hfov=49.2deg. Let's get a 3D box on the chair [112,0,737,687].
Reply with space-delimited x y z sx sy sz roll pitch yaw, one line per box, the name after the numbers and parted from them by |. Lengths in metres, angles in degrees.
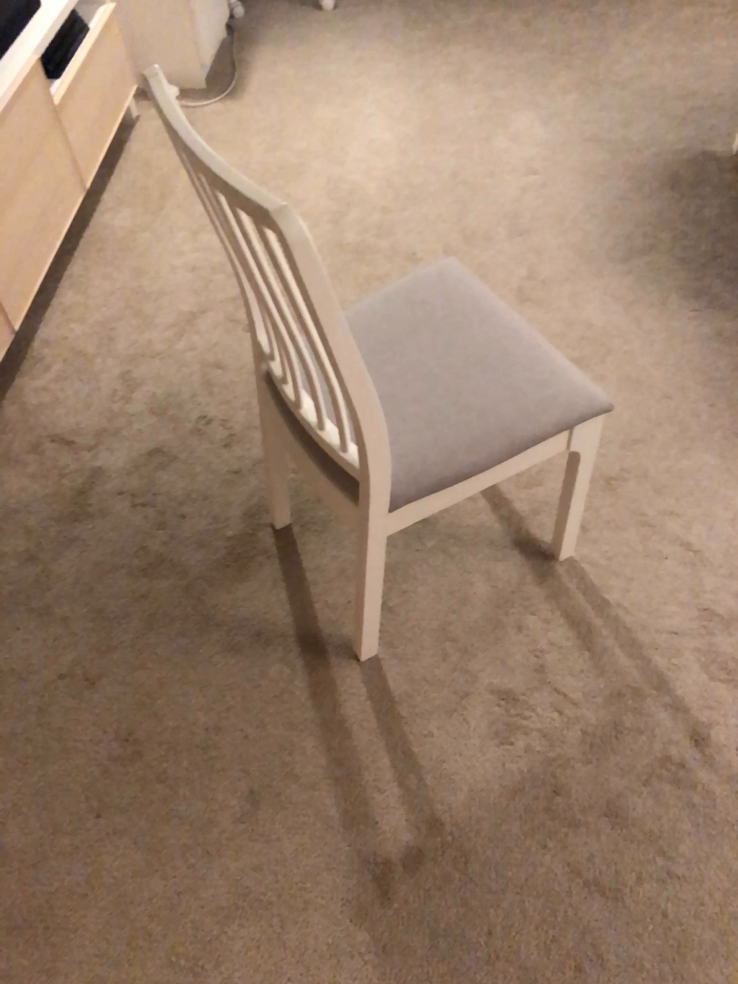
0.066 -0.214 1.278 0.551 0.905 0.502 -25 55 -15 | chair
